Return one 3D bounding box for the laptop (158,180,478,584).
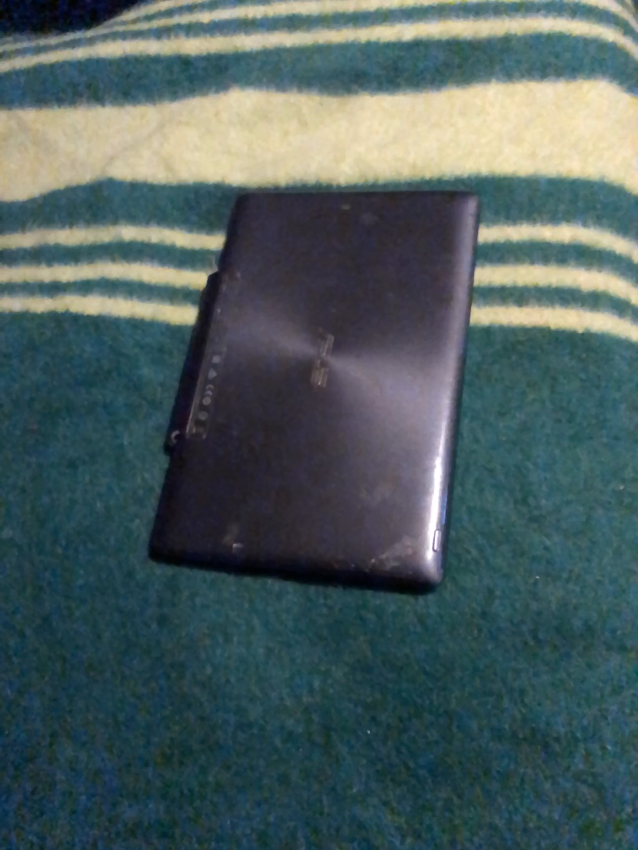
[{"bbox_3d":[0.006,-0.044,0.444,0.167,0.017,0.262,4,68,13],"label":"laptop"}]
